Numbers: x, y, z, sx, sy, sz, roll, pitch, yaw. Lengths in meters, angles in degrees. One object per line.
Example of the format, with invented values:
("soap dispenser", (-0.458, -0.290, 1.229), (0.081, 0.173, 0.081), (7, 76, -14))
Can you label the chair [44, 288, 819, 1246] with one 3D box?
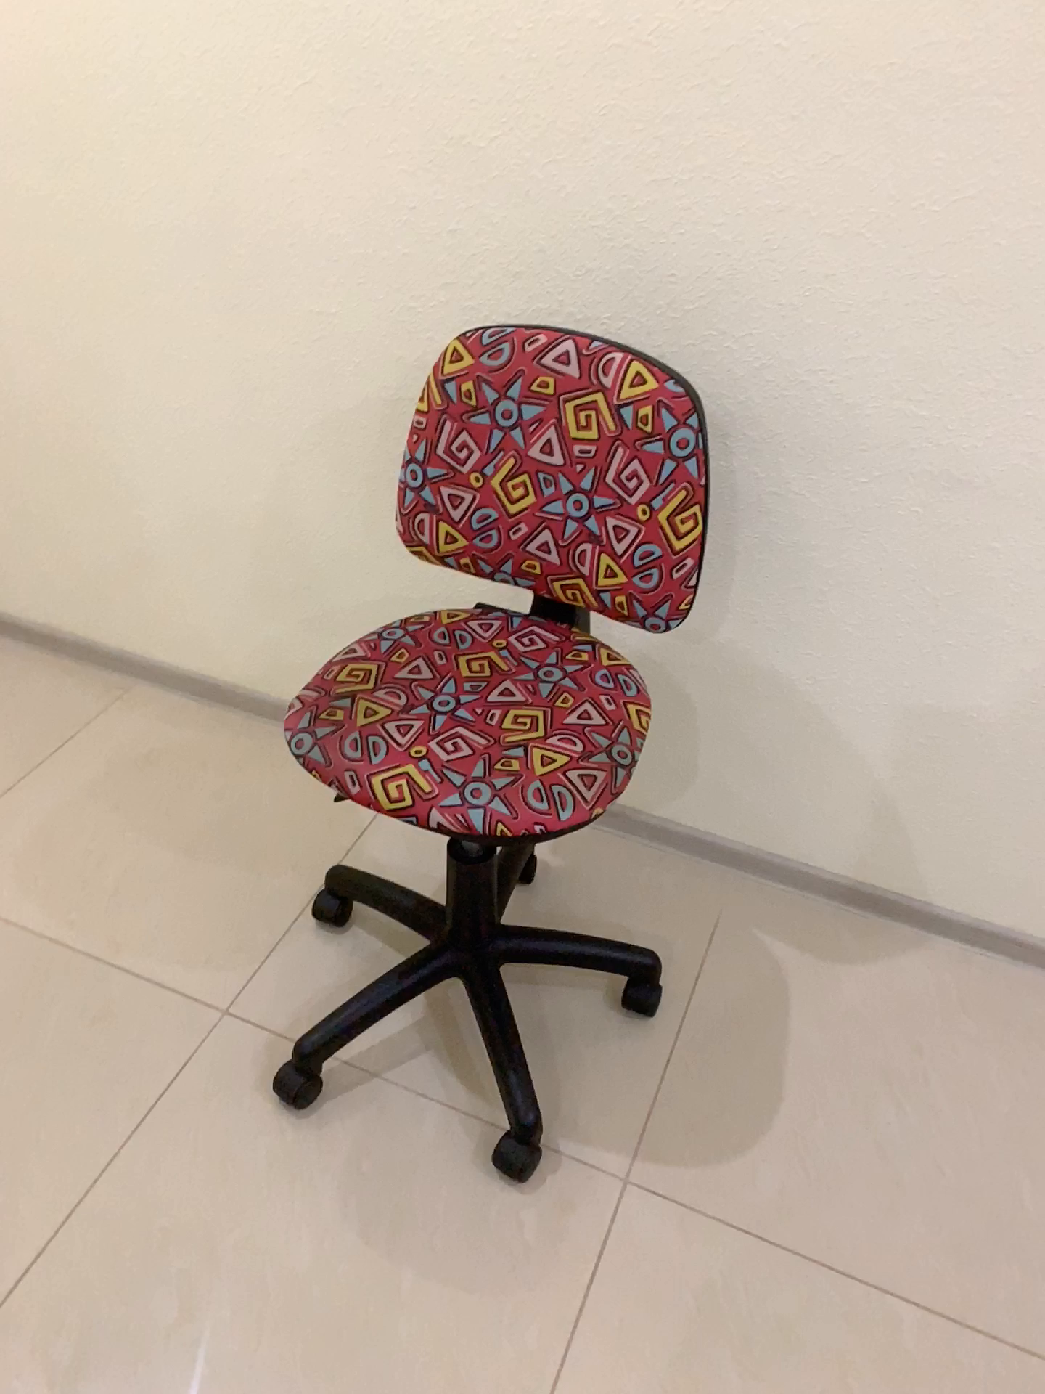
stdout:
("chair", (-0.062, 0.080, 1.280), (0.551, 0.885, 0.543), (16, 39, 16))
